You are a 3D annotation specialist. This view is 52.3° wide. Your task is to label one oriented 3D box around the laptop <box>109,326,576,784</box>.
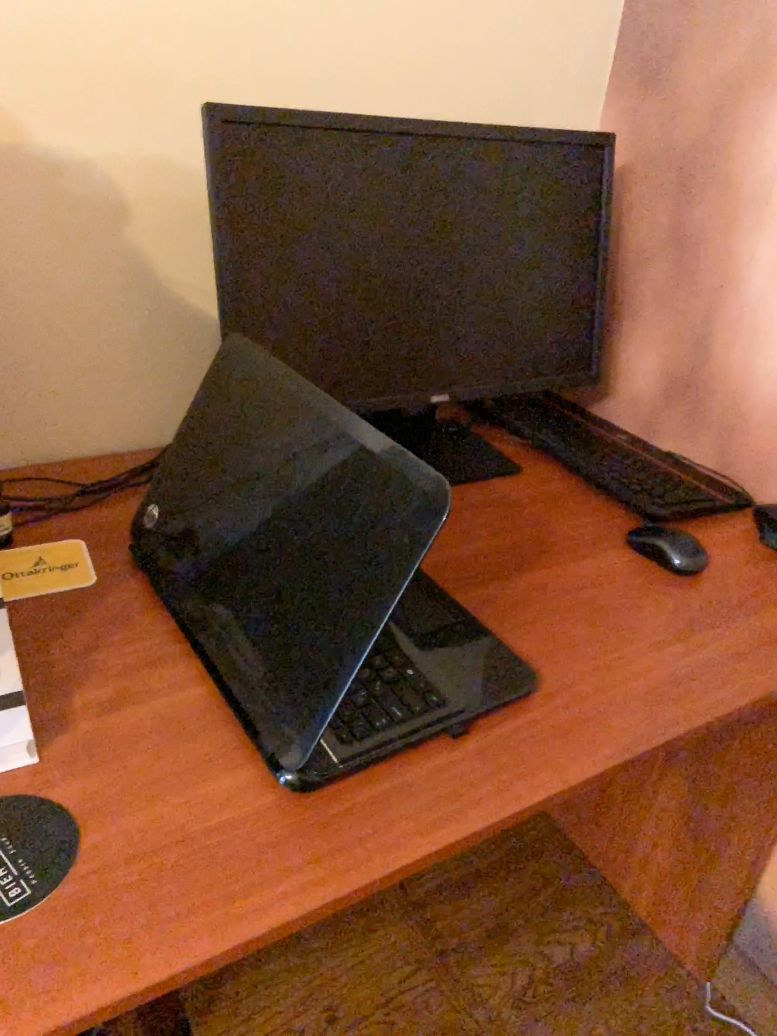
[{"bbox_3d":[-0.065,-0.008,0.671,0.222,0.198,0.349,-13,35,-32],"label":"laptop"}]
